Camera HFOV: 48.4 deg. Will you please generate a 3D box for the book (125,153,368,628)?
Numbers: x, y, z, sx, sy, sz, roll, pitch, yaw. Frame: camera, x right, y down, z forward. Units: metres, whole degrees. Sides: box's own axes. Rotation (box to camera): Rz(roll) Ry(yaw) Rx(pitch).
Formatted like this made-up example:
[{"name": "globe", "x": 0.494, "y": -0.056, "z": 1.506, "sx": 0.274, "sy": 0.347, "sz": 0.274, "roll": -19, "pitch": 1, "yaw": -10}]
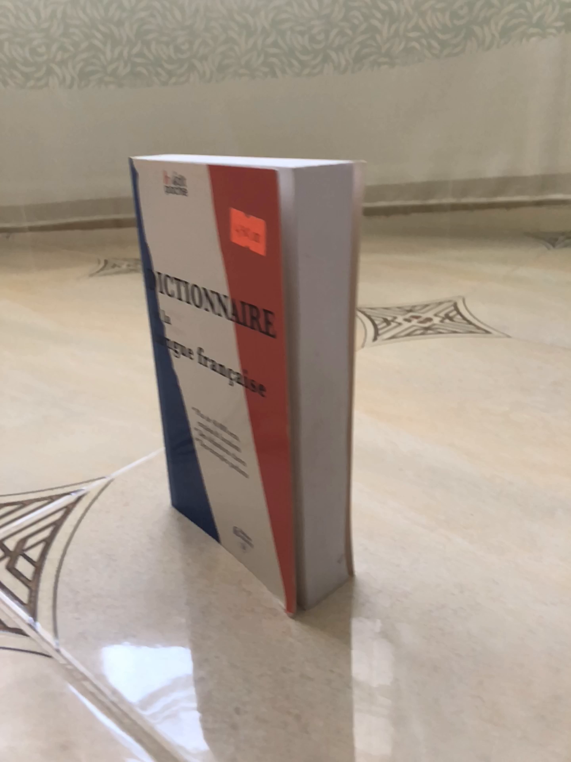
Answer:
[{"name": "book", "x": -0.018, "y": -0.003, "z": 0.284, "sx": 0.034, "sy": 0.182, "sz": 0.121, "roll": -18, "pitch": 27, "yaw": -33}]
